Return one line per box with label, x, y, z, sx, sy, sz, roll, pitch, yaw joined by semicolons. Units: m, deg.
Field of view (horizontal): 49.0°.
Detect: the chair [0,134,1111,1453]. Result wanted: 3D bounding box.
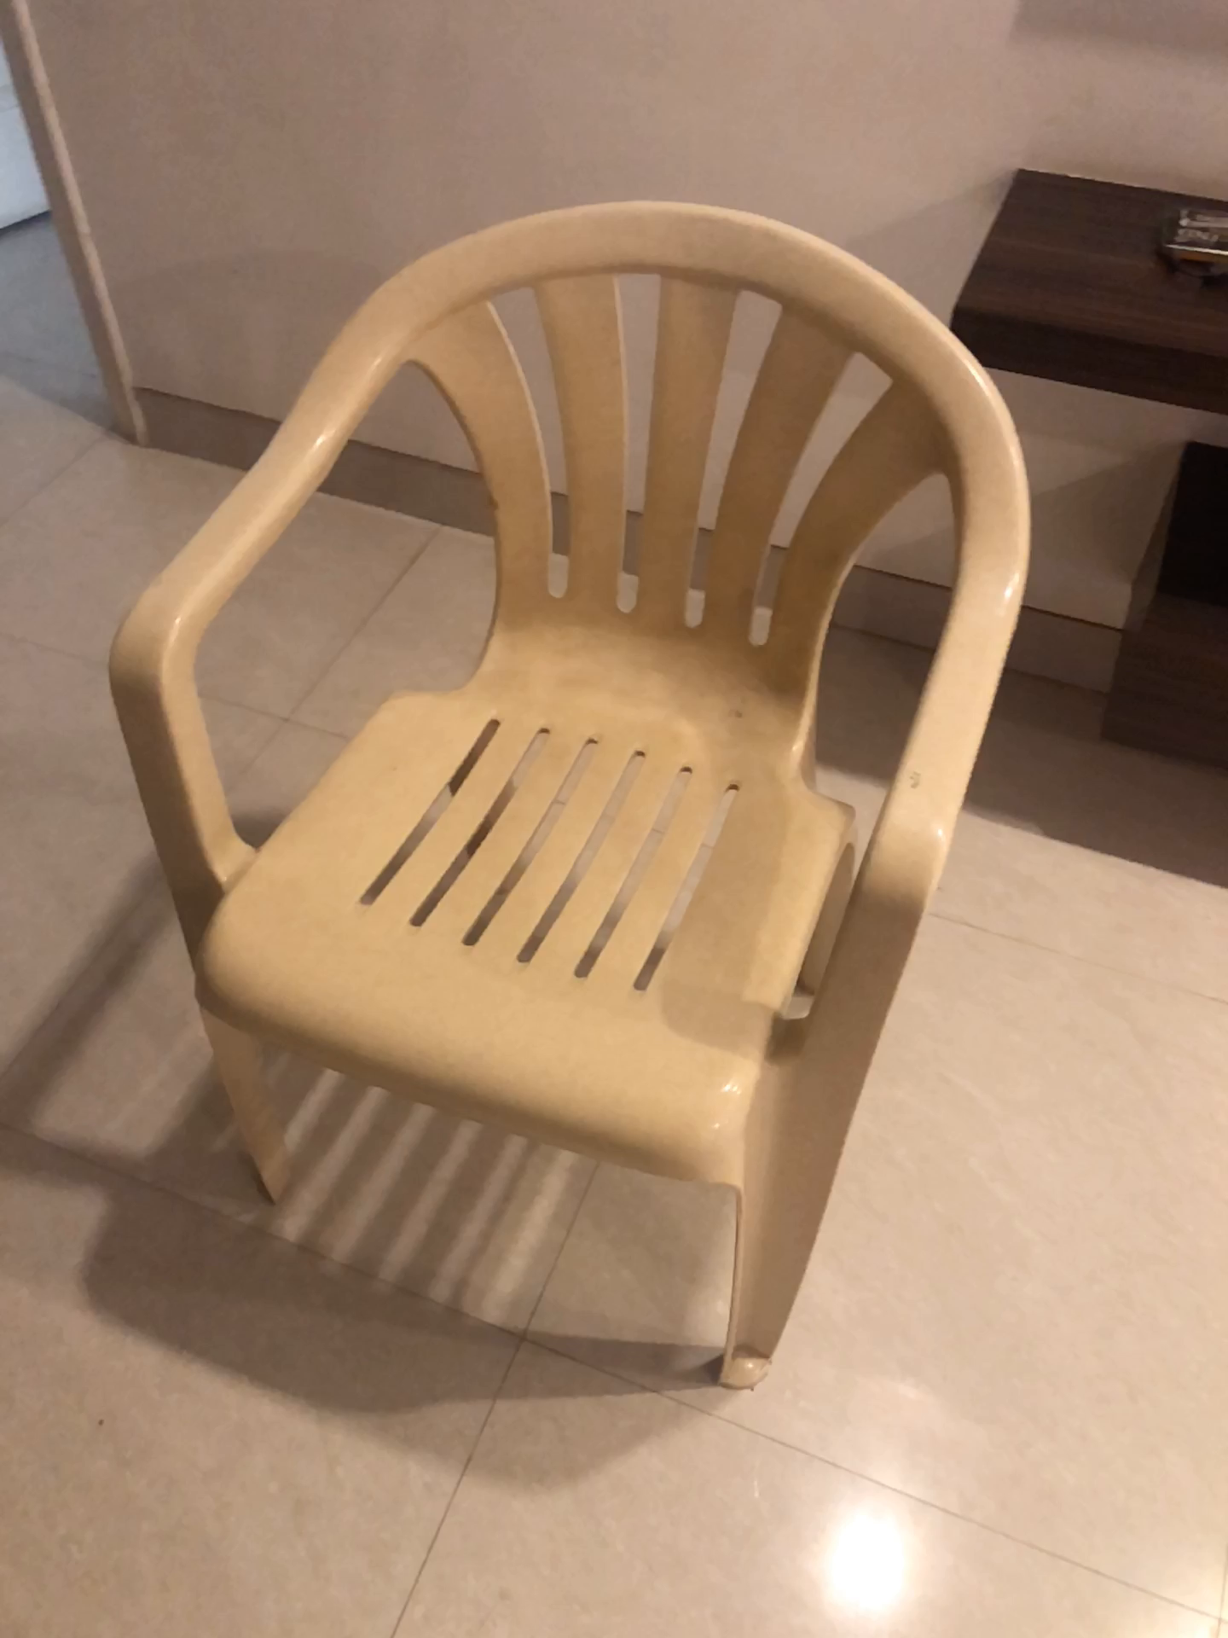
chair;-0.026;-0.002;1.106;0.570;0.775;0.594;16;50;13
